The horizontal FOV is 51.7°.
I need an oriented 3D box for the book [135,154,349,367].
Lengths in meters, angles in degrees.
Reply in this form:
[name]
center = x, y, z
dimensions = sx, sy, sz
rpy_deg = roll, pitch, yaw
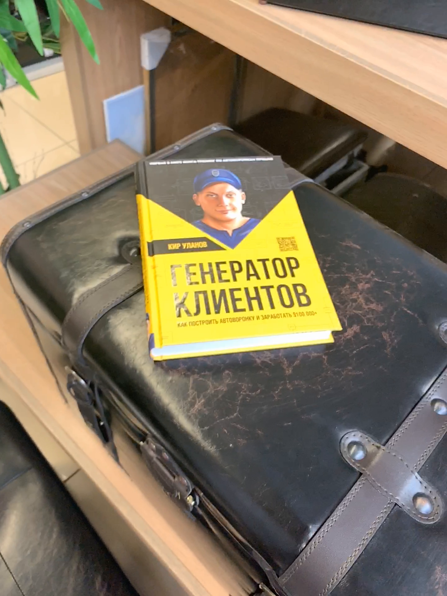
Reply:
[book]
center = 0.003, -0.054, 0.457
dimensions = 0.167, 0.030, 0.243
rpy_deg = -5, 53, -8
